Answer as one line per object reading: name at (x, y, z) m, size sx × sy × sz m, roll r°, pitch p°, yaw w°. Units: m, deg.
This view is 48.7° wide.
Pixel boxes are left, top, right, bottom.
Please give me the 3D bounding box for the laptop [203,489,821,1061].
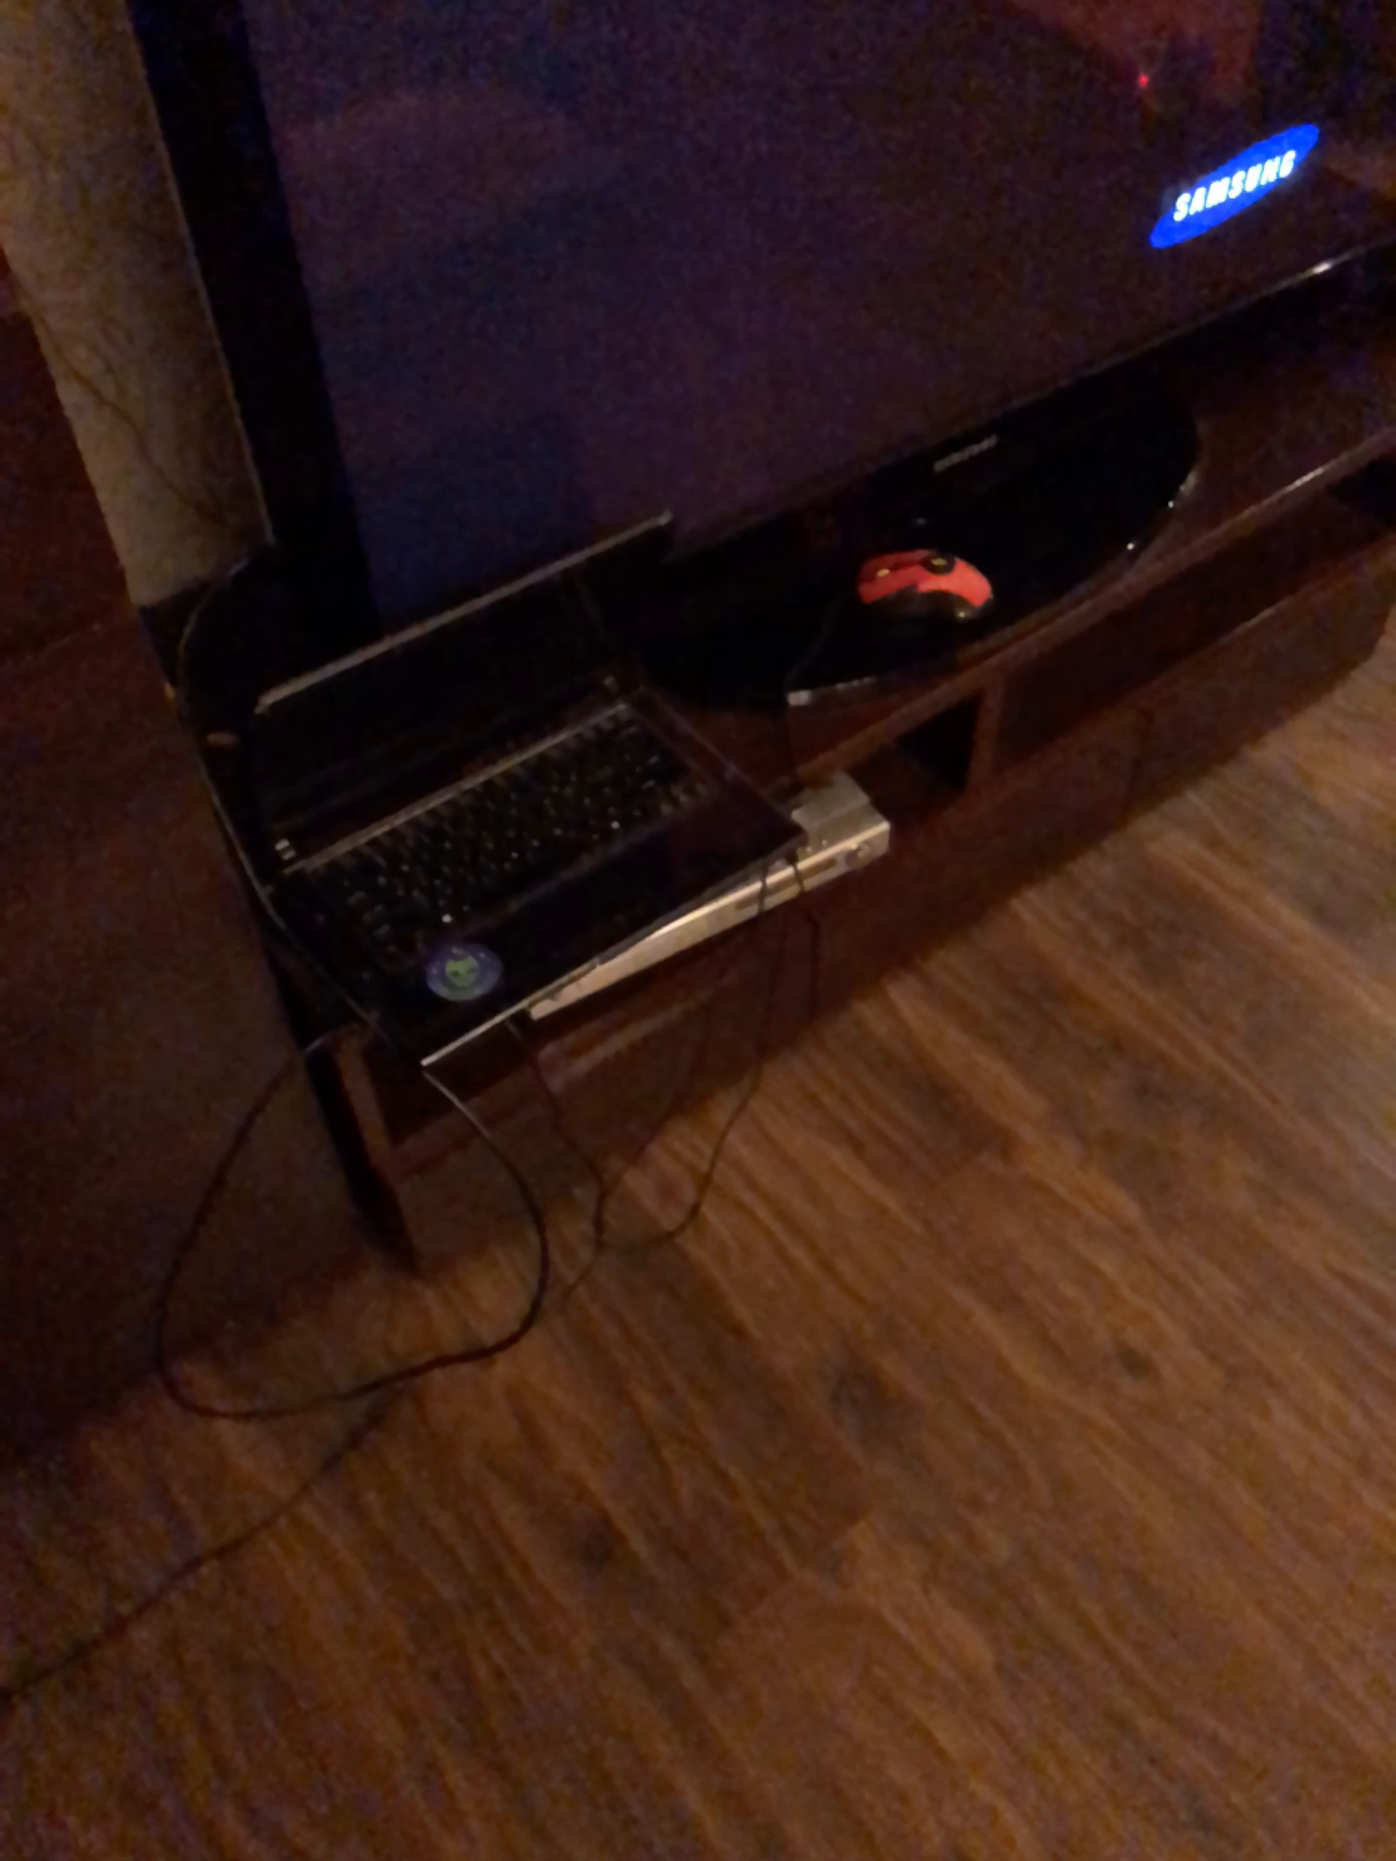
laptop at (-0.113, -0.115, 1.046) m, size 0.336 × 0.183 × 0.200 m, roll -32°, pitch 56°, yaw -24°
